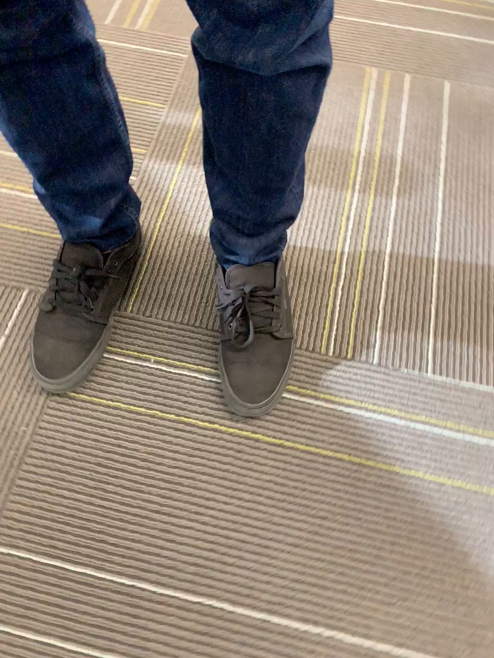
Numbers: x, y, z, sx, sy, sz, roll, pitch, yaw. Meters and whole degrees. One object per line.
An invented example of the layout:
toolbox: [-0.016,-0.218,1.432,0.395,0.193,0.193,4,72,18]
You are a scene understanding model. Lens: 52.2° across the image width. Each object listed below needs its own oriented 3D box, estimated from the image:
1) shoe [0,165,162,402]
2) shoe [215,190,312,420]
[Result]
shoe: [-0.220,-0.066,0.690,0.109,0.113,0.291,12,65,5]
shoe: [0.013,-0.035,0.681,0.109,0.113,0.292,-1,65,-2]
